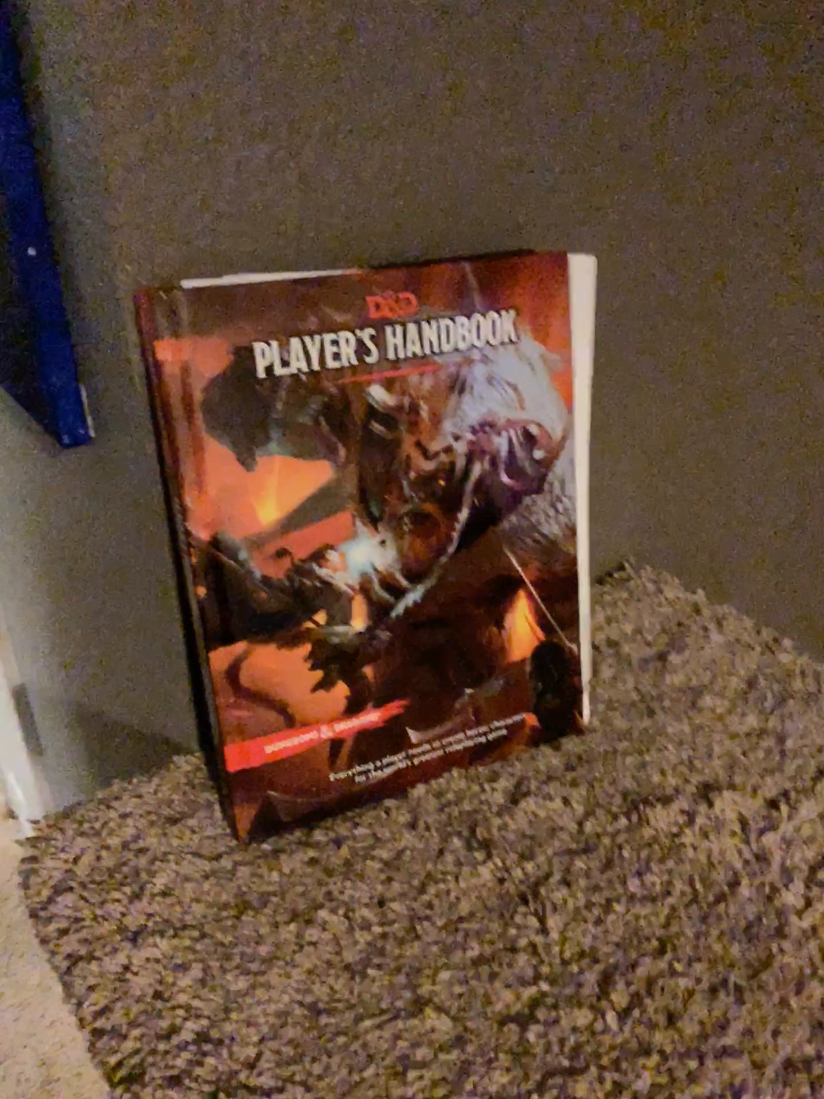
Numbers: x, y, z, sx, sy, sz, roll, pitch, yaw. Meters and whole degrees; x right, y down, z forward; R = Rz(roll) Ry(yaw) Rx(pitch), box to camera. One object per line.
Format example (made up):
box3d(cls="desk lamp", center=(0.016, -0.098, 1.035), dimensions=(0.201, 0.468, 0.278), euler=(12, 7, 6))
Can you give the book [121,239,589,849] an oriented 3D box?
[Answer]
box3d(cls="book", center=(-0.011, -0.006, 0.497), dimensions=(0.230, 0.290, 0.040), euler=(-13, 23, -23))
